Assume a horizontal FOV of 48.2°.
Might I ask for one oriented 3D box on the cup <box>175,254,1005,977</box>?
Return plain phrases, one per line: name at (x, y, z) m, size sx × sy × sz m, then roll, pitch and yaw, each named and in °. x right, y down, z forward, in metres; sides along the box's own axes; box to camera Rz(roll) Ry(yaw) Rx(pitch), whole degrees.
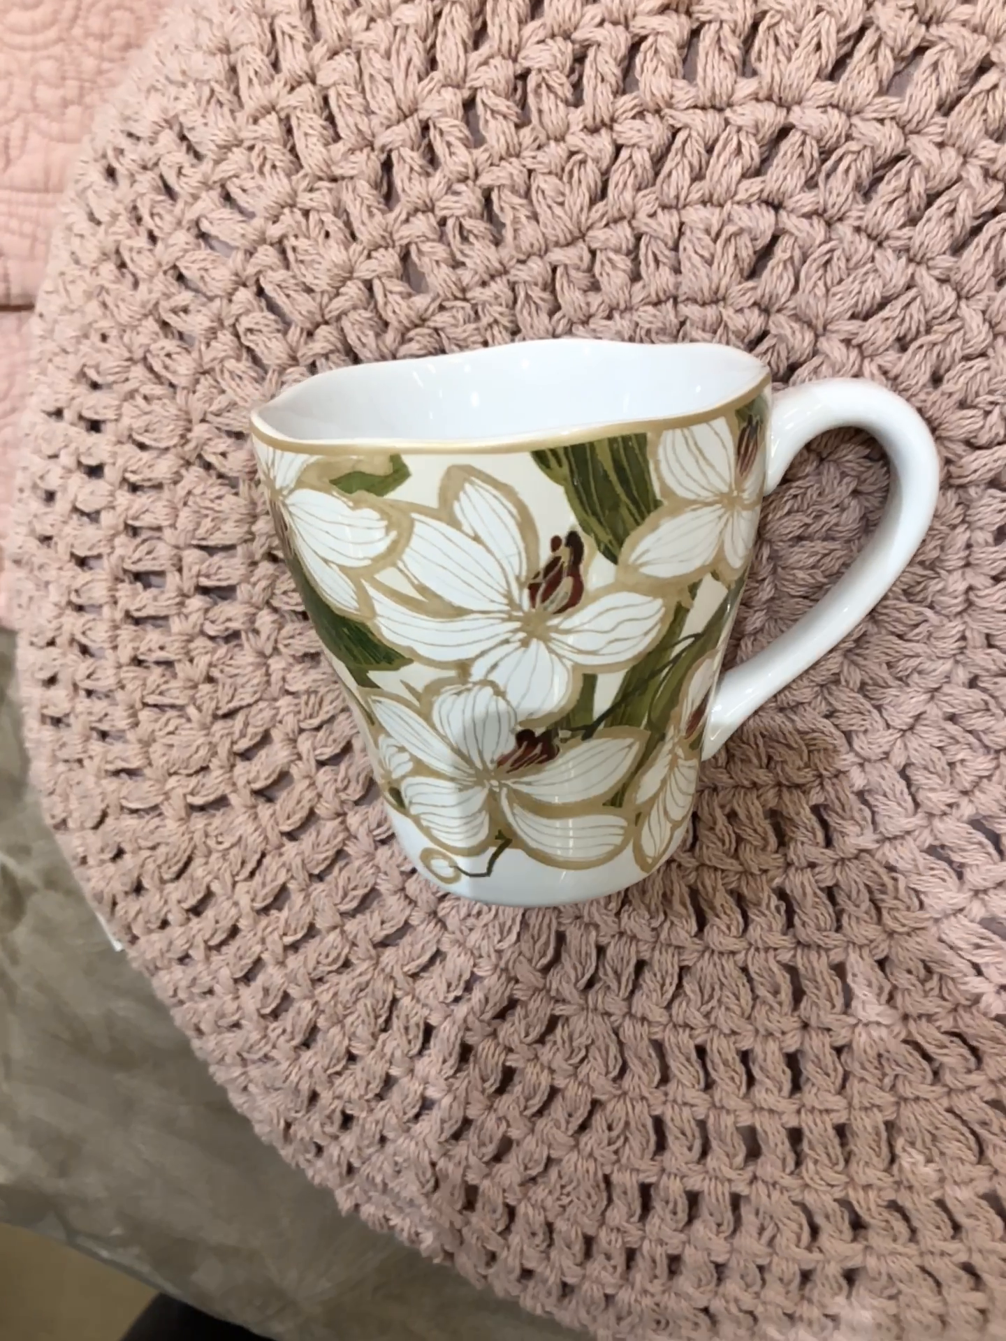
cup at (0.025, -0.015, 0.243) m, size 0.140 × 0.090 × 0.120 m, roll -5°, pitch 114°, yaw 6°
